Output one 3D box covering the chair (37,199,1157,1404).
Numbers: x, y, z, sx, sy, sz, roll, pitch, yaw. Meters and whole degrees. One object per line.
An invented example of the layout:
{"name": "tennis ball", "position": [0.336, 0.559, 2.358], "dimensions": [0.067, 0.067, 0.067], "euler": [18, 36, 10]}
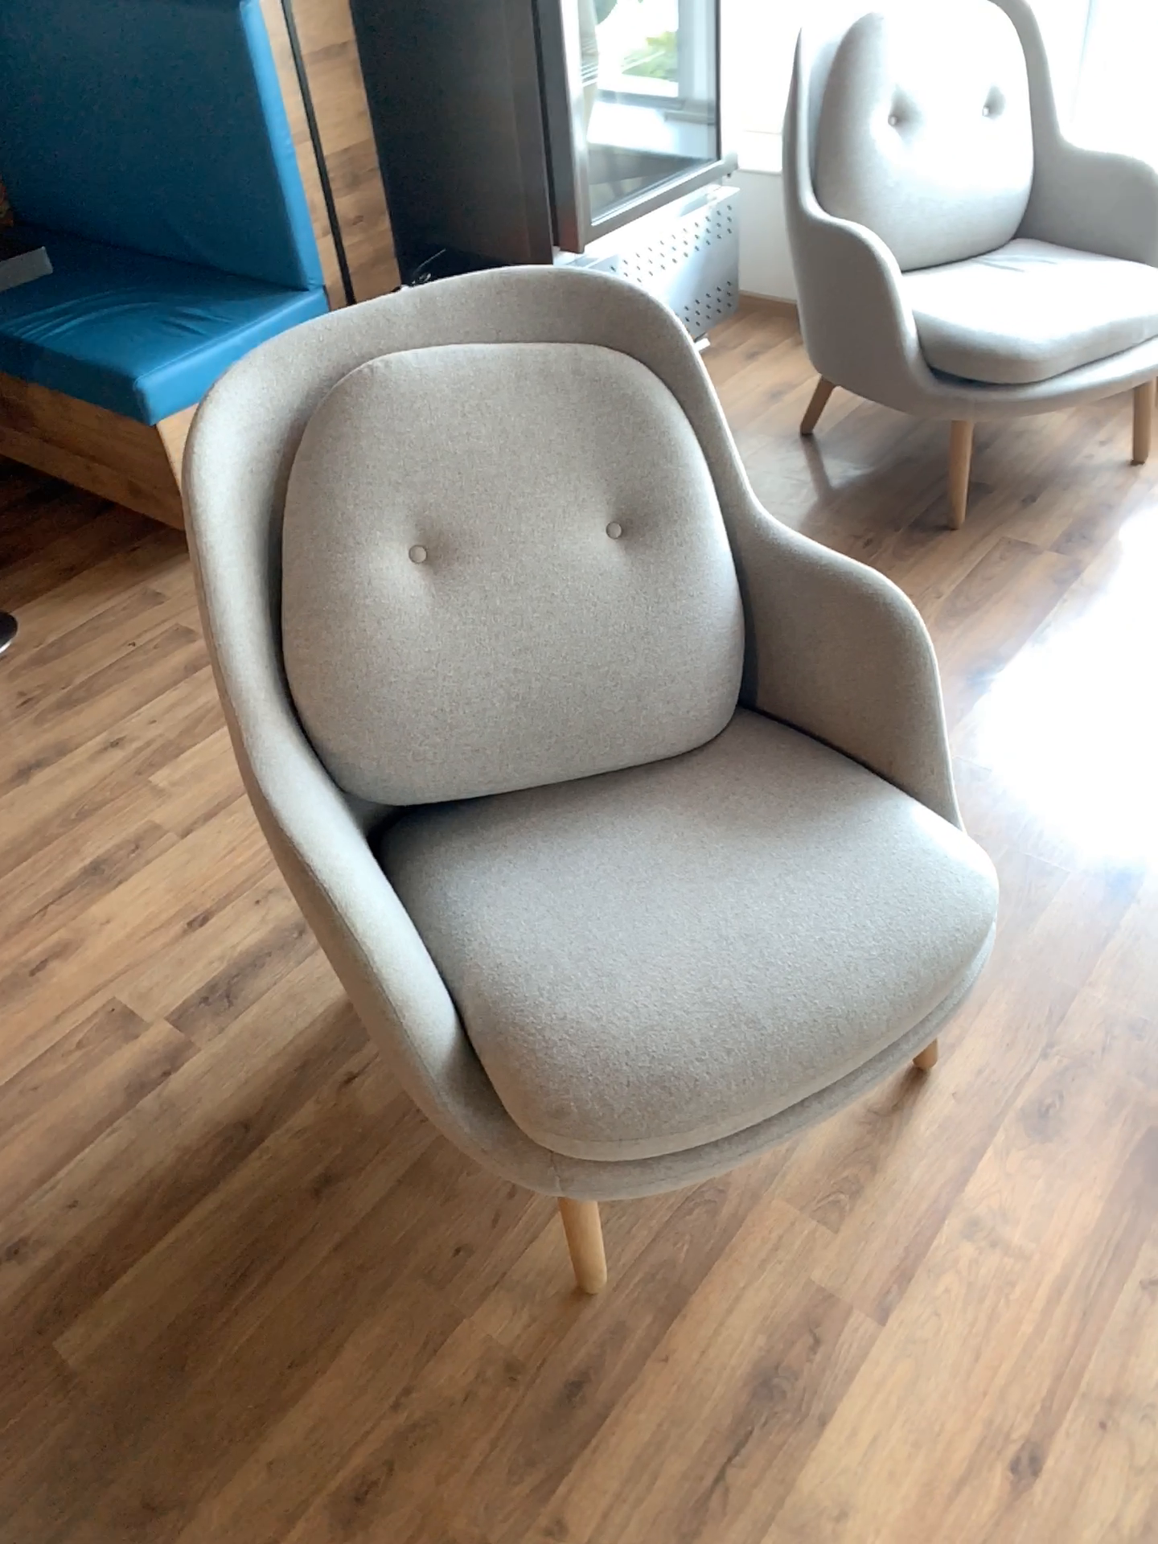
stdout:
{"name": "chair", "position": [0.044, -0.029, 1.305], "dimensions": [0.752, 0.833, 0.744], "euler": [-29, 45, -24]}
